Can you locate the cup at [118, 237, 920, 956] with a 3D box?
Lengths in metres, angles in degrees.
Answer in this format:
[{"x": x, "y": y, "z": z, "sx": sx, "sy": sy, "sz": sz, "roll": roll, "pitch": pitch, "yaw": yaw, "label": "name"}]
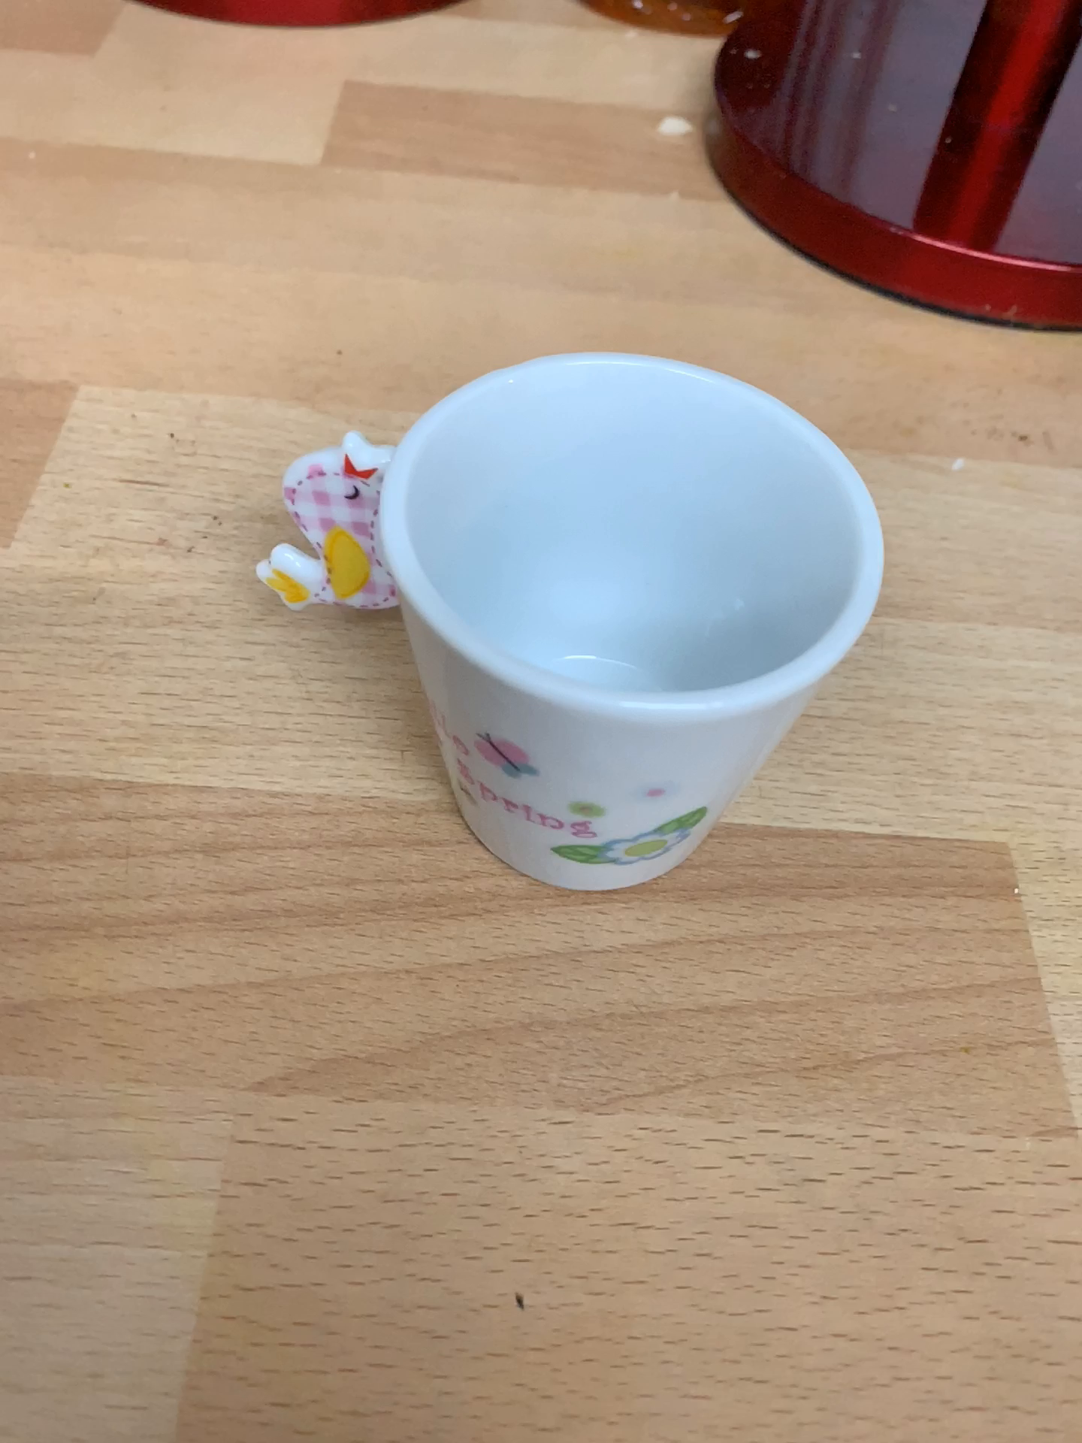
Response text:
[{"x": 0.000, "y": -0.018, "z": 0.155, "sx": 0.080, "sy": 0.050, "sz": 0.060, "roll": 18, "pitch": 54, "yaw": 8, "label": "cup"}]
